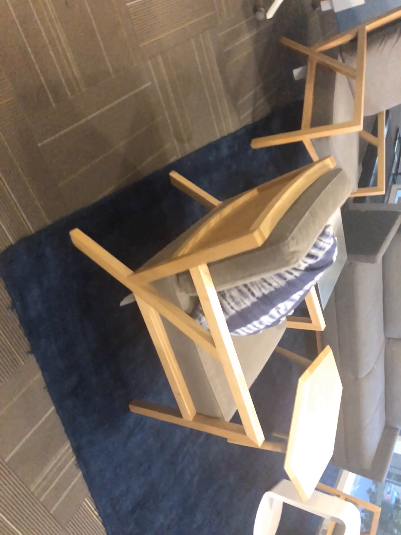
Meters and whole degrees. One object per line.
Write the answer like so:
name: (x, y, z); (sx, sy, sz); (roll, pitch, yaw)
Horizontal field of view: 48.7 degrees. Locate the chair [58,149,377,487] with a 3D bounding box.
chair: (0.136, 0.103, 1.598); (0.676, 0.773, 0.830); (-42, 128, -46)
